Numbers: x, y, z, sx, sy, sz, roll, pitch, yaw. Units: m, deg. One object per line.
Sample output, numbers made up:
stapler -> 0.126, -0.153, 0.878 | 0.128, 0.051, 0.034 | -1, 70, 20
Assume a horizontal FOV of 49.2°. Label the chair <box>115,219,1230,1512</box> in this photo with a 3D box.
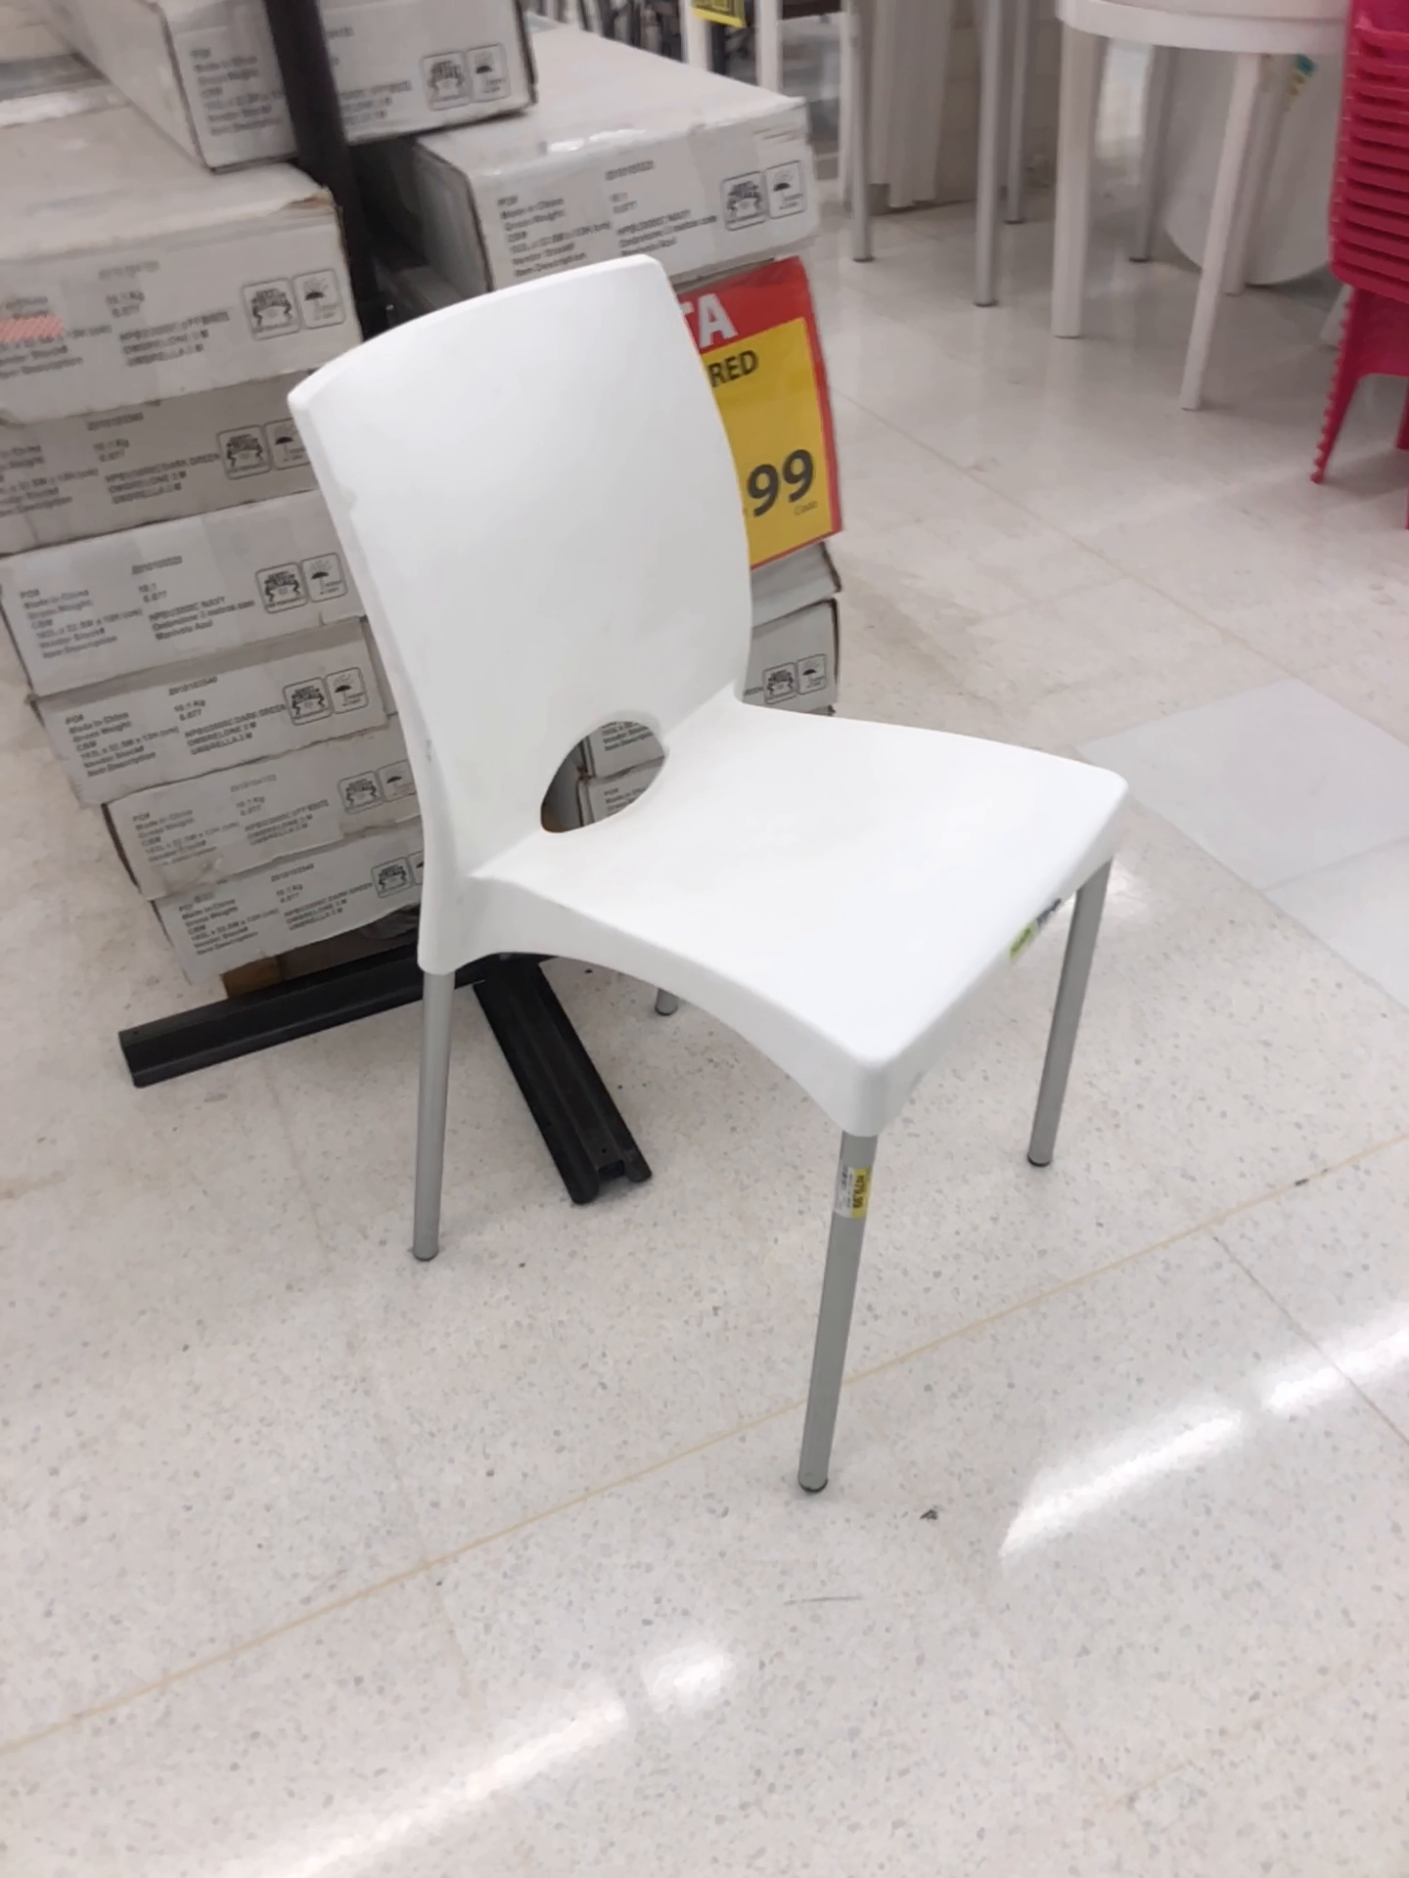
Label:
chair -> 0.009, -0.083, 1.275 | 0.561, 0.794, 0.503 | 22, 45, 30
